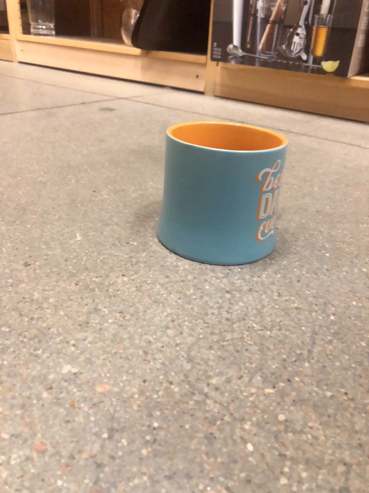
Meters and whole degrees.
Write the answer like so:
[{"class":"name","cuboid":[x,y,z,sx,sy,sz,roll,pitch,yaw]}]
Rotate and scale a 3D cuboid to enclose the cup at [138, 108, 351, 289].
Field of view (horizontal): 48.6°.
[{"class":"cup","cuboid":[0.050,-0.054,0.353,0.107,0.097,0.144,27,36,36]}]
